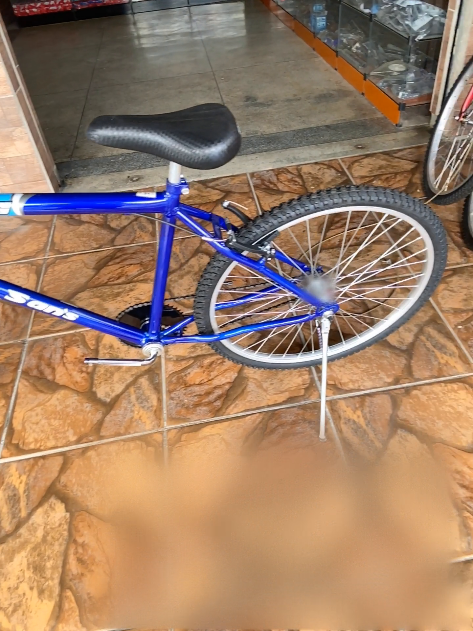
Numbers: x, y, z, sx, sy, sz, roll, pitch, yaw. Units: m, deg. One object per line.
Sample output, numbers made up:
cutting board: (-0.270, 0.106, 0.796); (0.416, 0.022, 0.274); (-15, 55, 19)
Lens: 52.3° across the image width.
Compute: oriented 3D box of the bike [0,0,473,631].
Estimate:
bike: (-0.194, 0.071, 0.912); (1.525, 1.013, 0.575); (-20, 43, -9)
